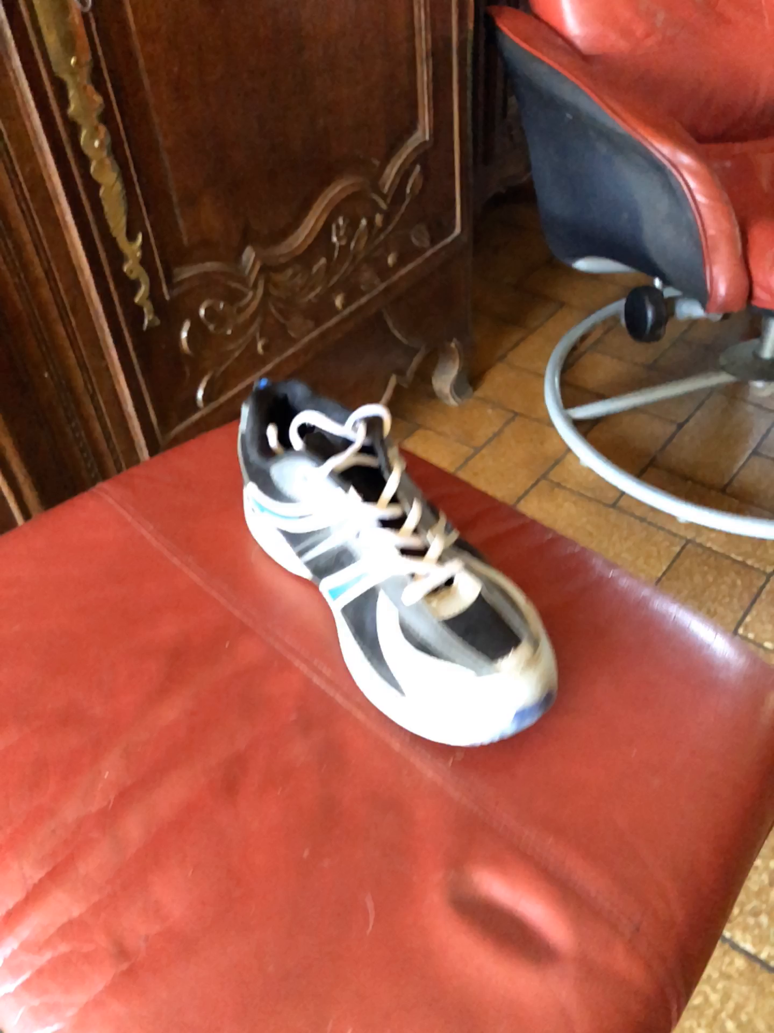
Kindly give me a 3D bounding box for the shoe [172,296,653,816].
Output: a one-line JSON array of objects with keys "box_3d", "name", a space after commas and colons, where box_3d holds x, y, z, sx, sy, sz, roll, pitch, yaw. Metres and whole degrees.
[{"box_3d": [-0.001, 0.002, 0.464, 0.110, 0.119, 0.261, -26, 47, -21], "name": "shoe"}]
